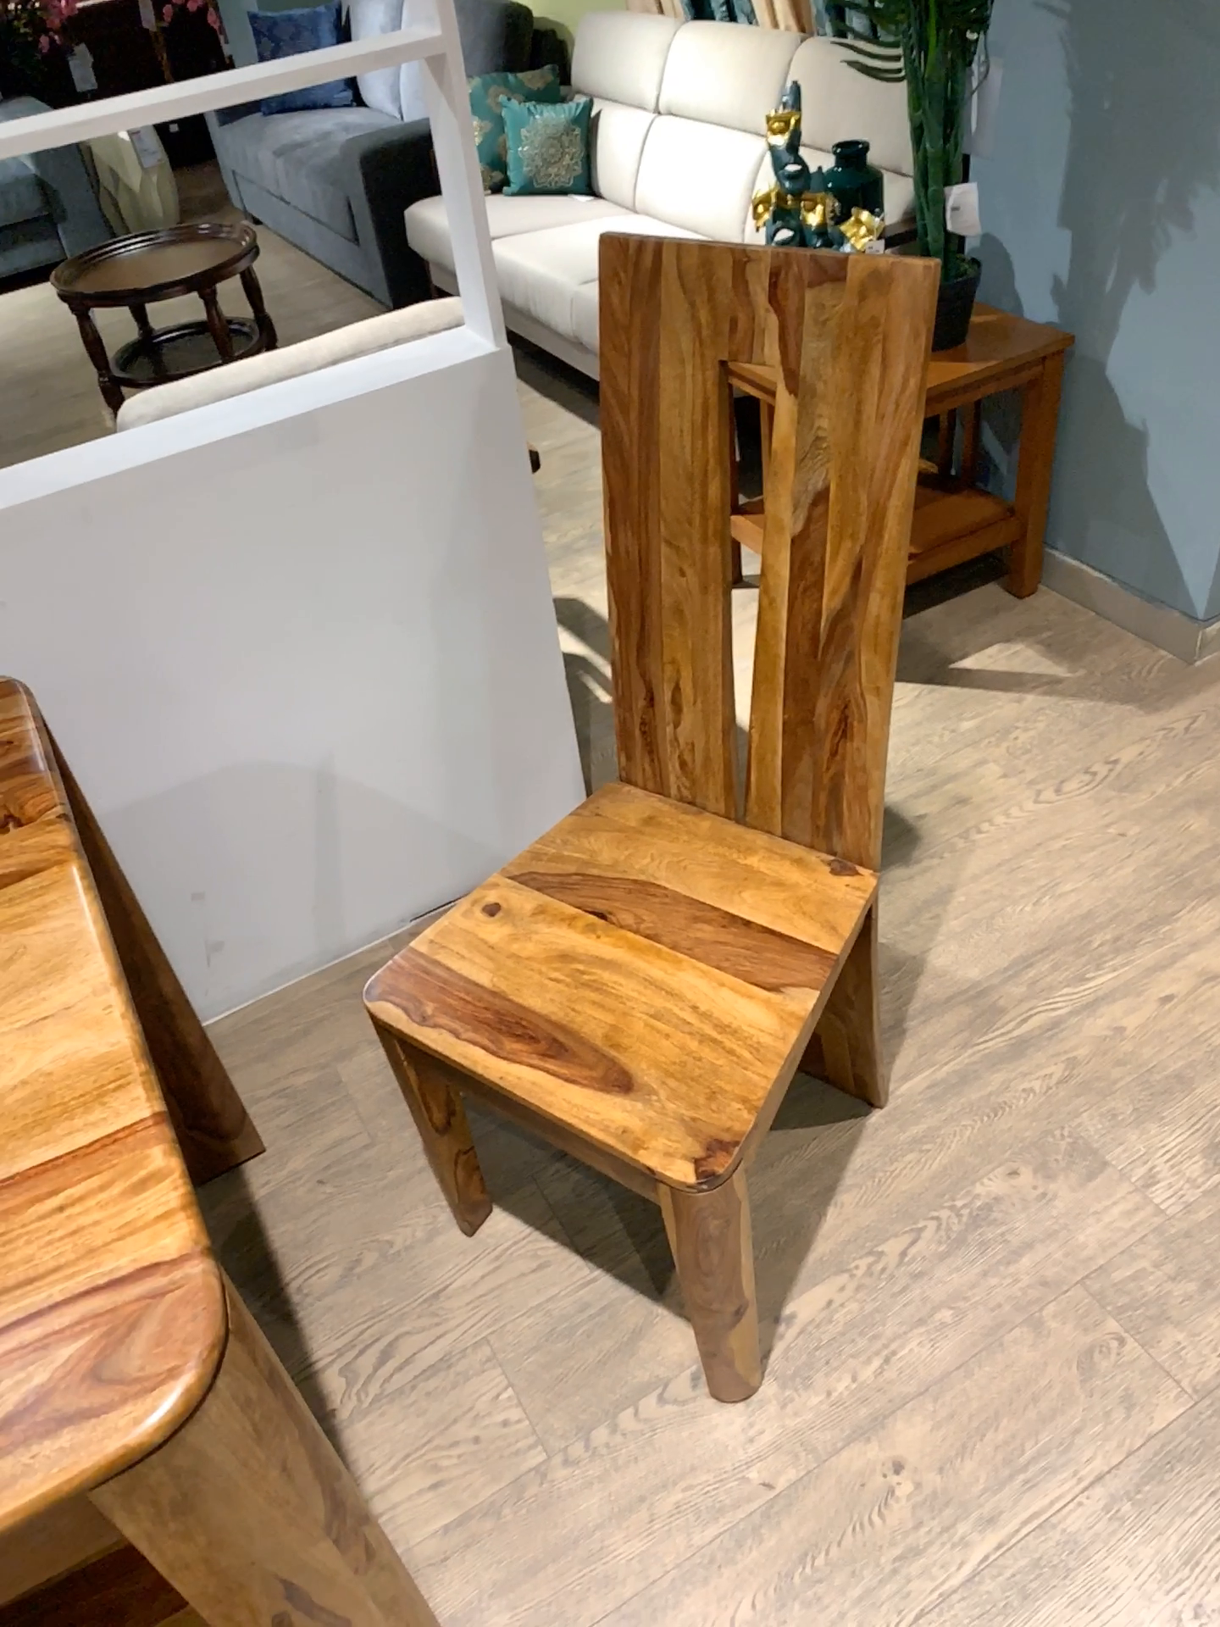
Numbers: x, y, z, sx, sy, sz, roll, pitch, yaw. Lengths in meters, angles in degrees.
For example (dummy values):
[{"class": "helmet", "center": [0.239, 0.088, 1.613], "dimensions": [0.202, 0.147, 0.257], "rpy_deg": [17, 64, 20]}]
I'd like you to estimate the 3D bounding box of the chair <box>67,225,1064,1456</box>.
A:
[{"class": "chair", "center": [0.049, 0.032, 1.240], "dimensions": [0.501, 0.966, 0.601], "rpy_deg": [18, 47, 29]}]
